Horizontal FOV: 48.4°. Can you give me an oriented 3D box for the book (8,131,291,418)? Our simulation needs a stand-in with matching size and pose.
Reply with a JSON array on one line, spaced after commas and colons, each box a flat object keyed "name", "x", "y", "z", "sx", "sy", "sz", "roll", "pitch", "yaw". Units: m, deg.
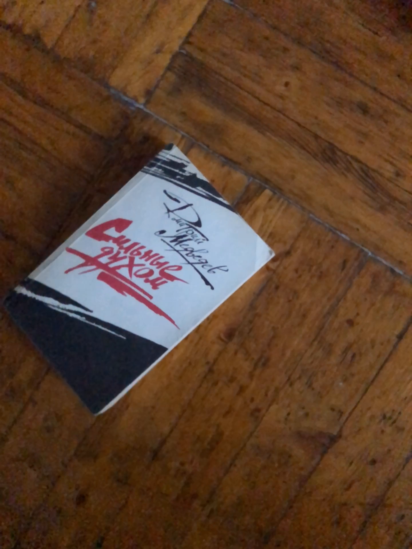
[{"name": "book", "x": -0.049, "y": 0.000, "z": 0.422, "sx": 0.140, "sy": 0.050, "sz": 0.210, "roll": 44, "pitch": 91, "yaw": 4}]
